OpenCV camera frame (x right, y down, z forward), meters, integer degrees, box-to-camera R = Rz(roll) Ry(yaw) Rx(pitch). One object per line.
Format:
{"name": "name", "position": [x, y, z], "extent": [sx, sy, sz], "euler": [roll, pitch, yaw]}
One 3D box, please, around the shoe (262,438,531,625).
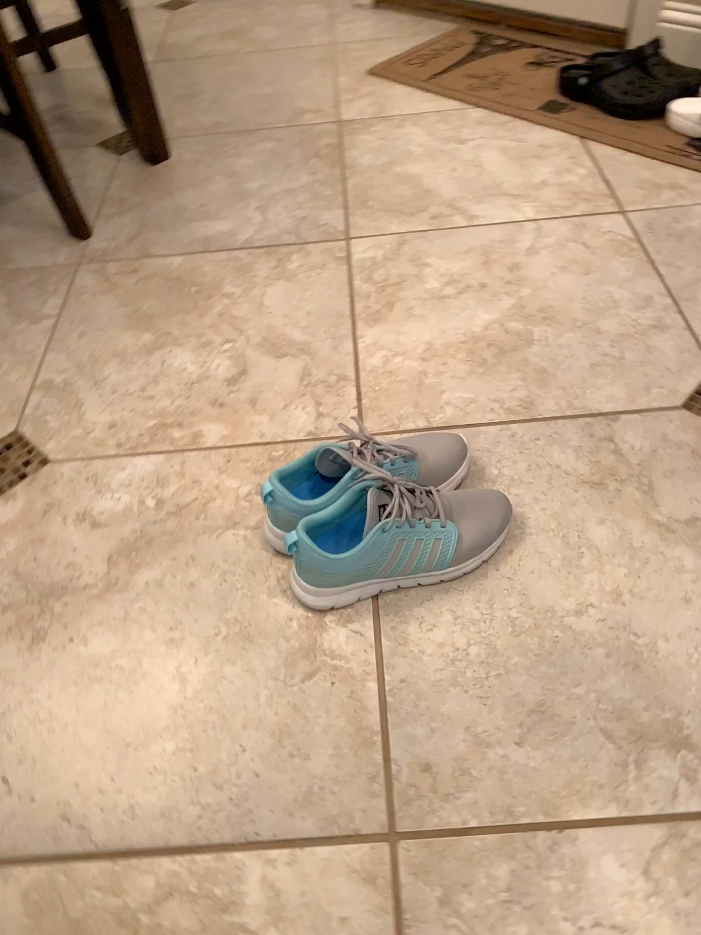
{"name": "shoe", "position": [0.050, 0.071, 0.816], "extent": [0.271, 0.108, 0.107], "euler": [-14, 48, -7]}

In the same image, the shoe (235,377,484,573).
{"name": "shoe", "position": [0.014, 0.006, 0.875], "extent": [0.271, 0.108, 0.107], "euler": [-22, 50, -13]}
